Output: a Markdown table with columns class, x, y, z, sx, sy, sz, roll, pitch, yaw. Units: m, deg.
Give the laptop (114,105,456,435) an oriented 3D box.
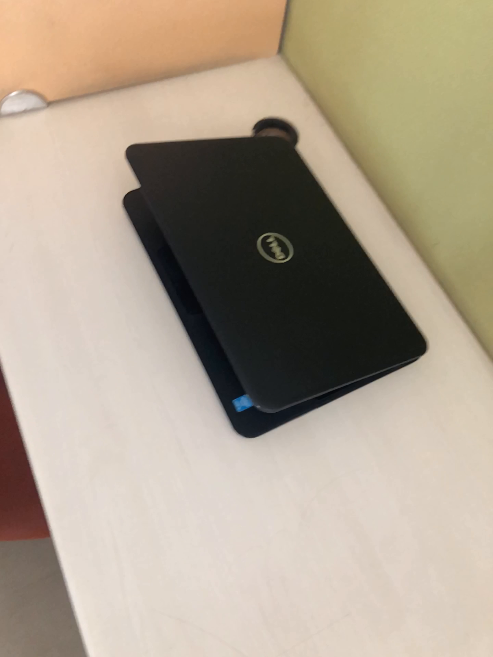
| class | x | y | z | sx | sy | sz | roll | pitch | yaw |
| --- | --- | --- | --- | --- | --- | --- | --- | --- | --- |
| laptop | 0.030 | -0.089 | 0.649 | 0.247 | 0.079 | 0.354 | -22 | 68 | -16 |
